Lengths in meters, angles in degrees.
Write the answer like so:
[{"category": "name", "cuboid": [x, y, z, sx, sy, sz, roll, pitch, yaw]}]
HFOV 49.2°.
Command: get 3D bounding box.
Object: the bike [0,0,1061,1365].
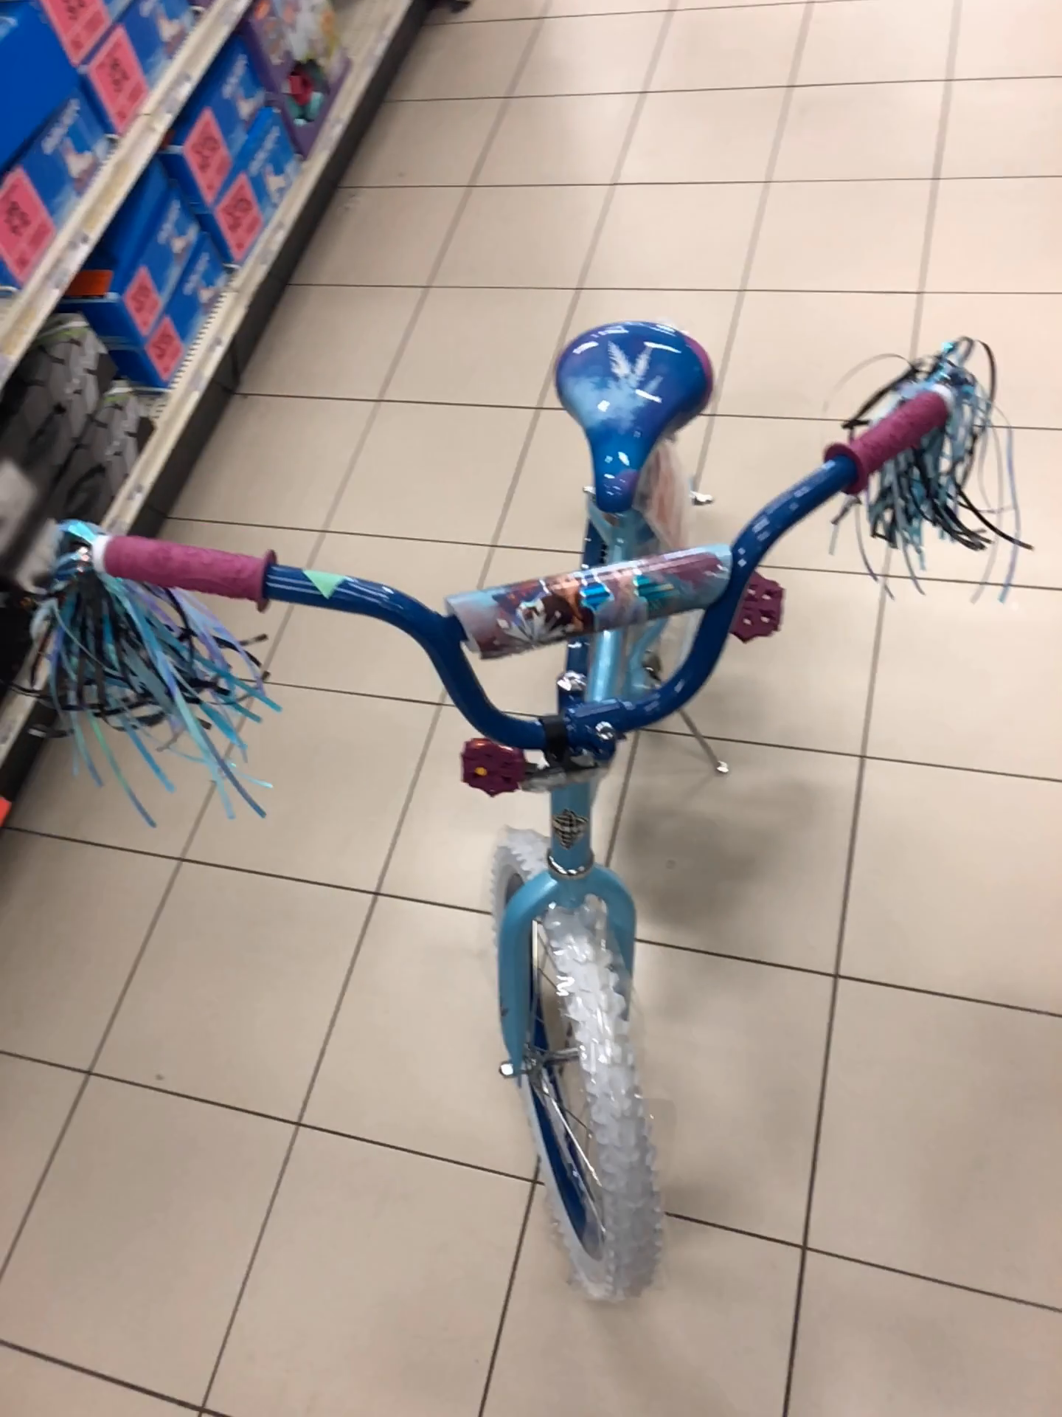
[{"category": "bike", "cuboid": [0.137, -0.084, 1.128, 0.640, 0.954, 1.179, -2, 55, 12]}]
